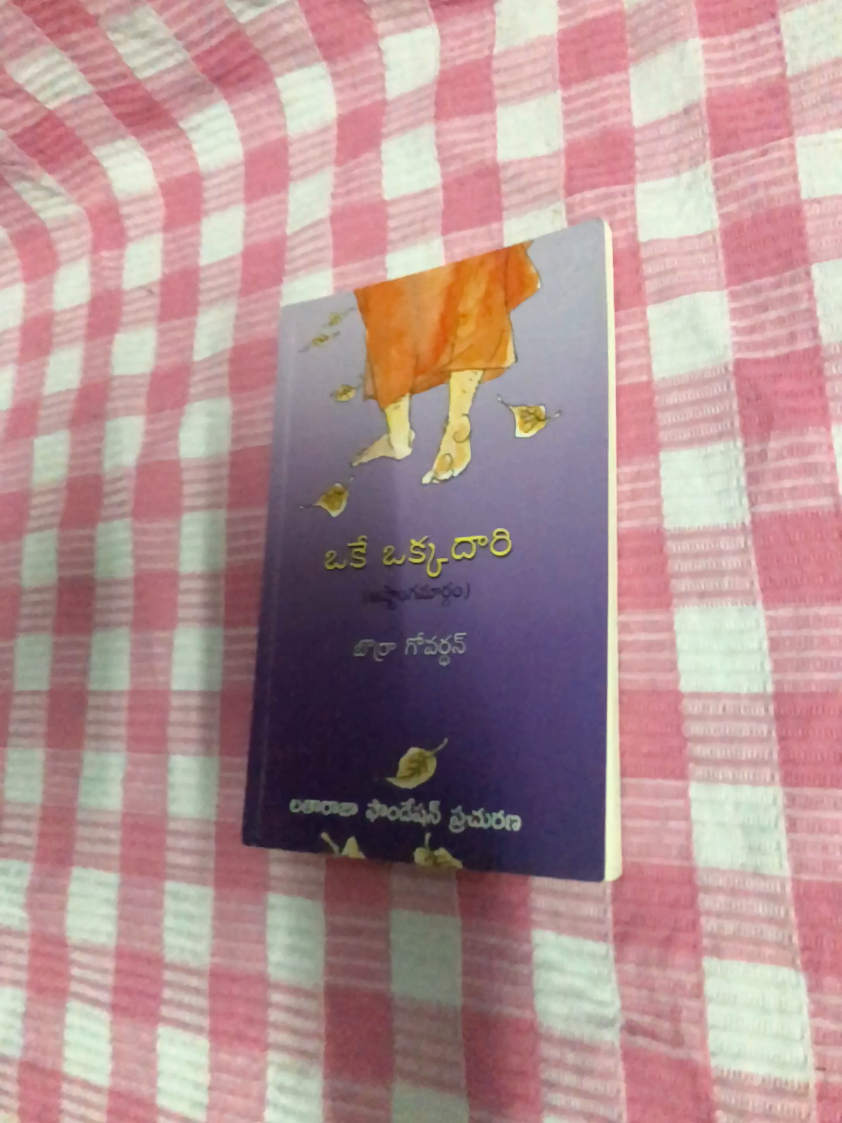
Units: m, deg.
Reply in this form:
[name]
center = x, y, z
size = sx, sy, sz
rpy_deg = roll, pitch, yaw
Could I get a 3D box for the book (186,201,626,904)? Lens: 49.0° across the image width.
[book]
center = -0.007, -0.004, 0.315
size = 0.150, 0.020, 0.210
rpy_deg = -4, 76, 30
